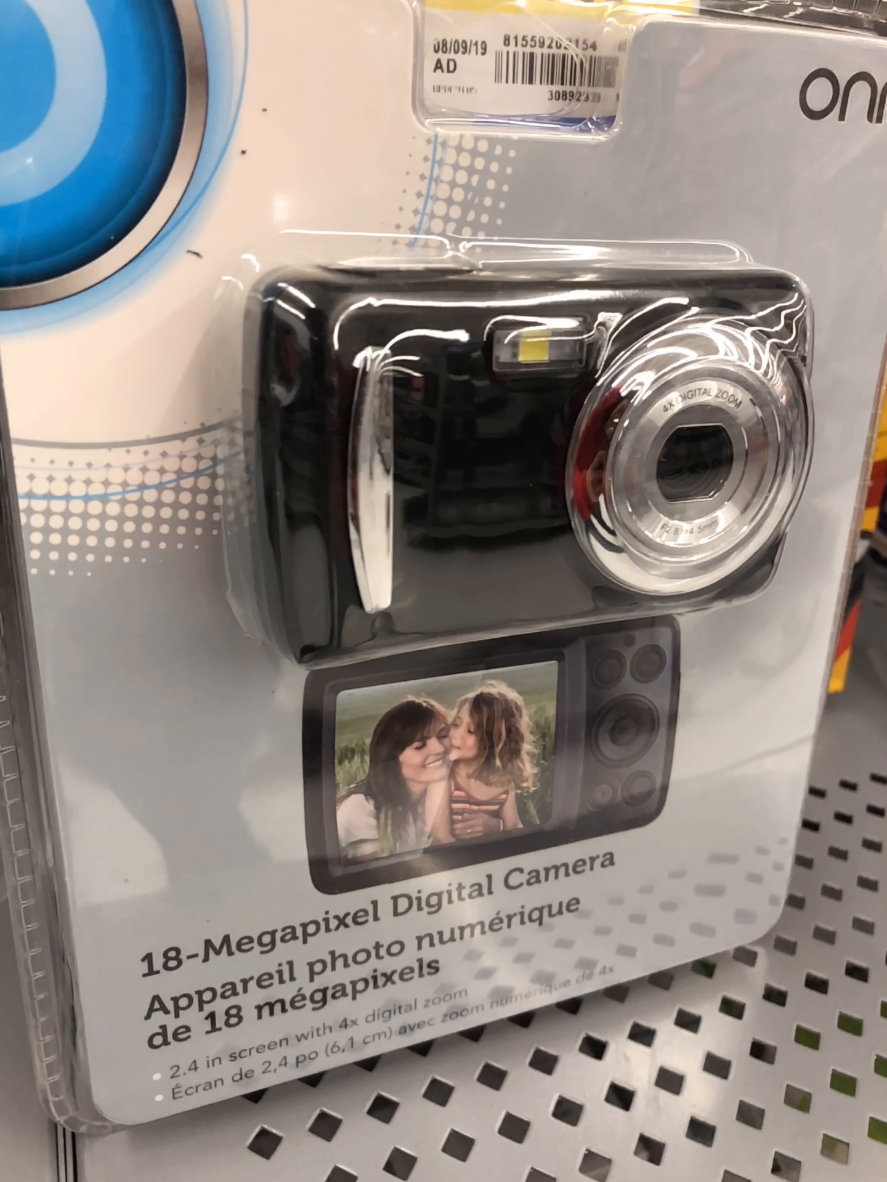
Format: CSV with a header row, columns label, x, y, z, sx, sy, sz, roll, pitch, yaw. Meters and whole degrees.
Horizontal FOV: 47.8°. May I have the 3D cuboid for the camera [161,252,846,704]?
label,x,y,z,sx,sy,sz,roll,pitch,yaw
camera,0.009,-0.022,0.163,0.100,0.060,0.030,-7,24,-20
